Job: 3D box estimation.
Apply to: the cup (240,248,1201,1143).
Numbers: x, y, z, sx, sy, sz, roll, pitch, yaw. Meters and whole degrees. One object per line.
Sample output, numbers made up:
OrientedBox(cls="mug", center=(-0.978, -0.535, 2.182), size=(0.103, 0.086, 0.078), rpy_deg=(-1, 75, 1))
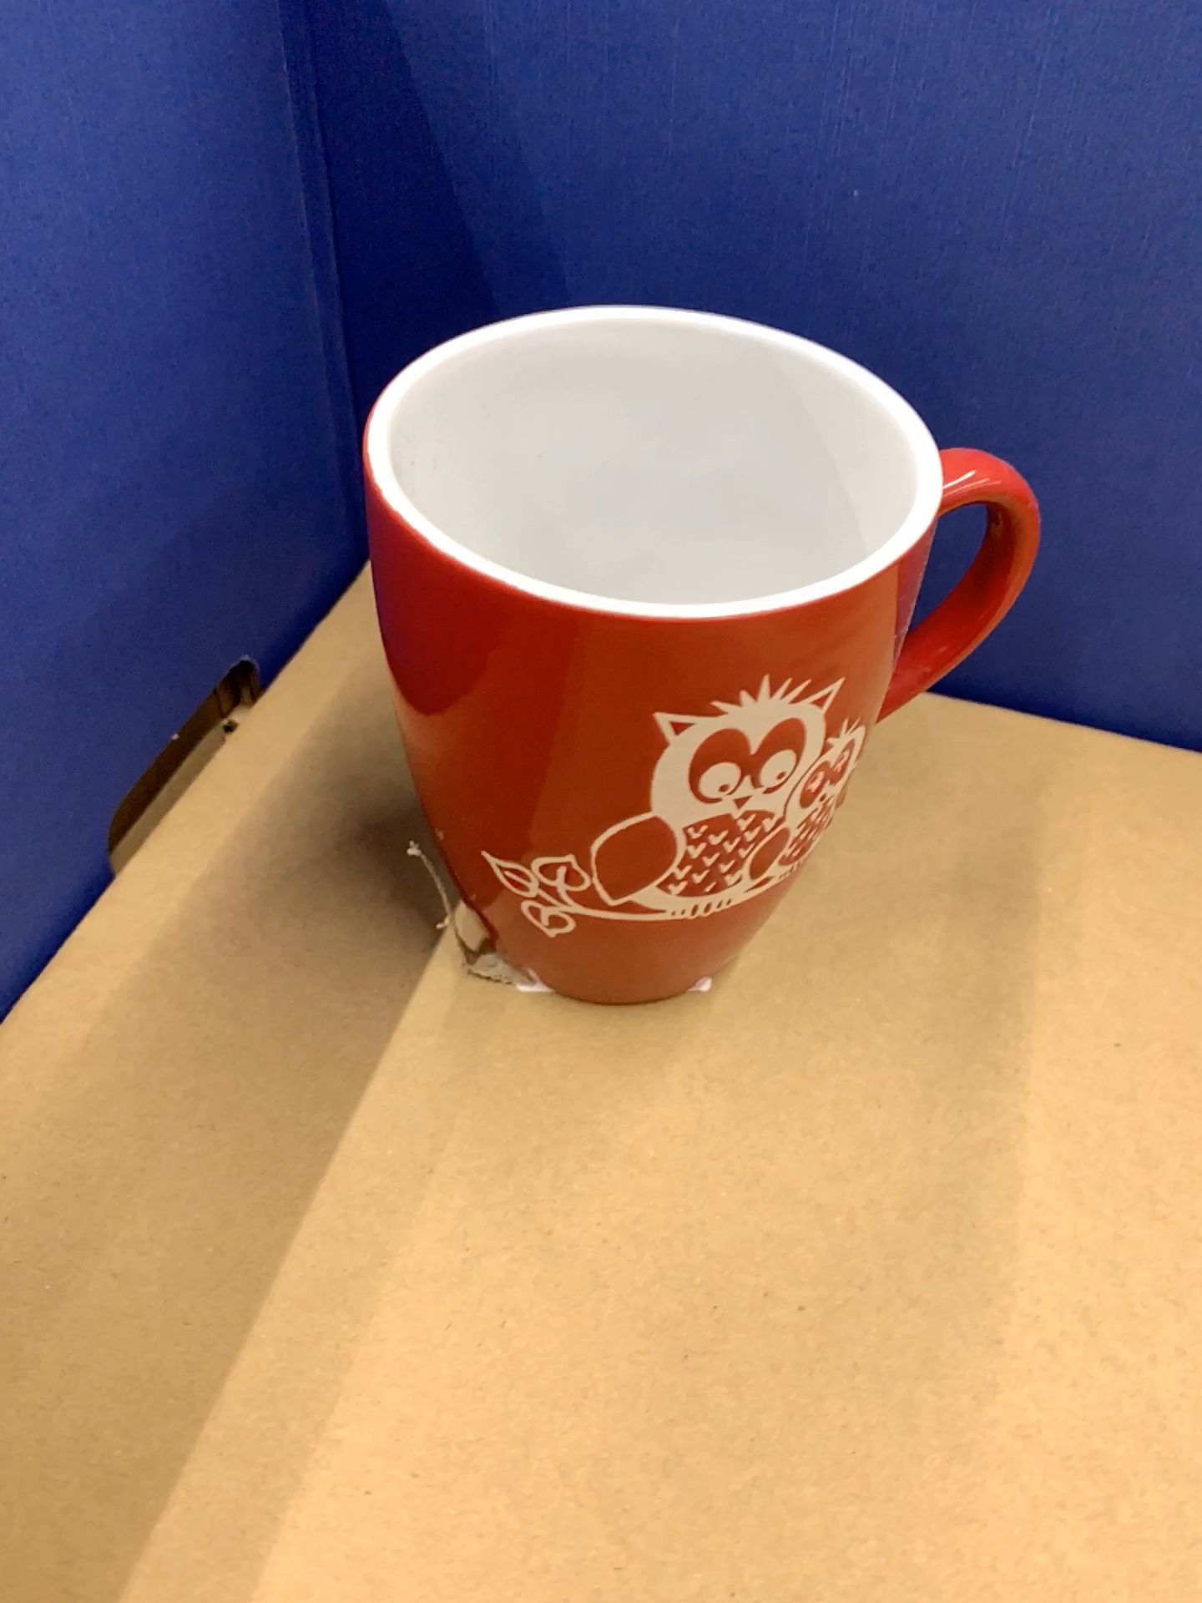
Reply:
OrientedBox(cls="cup", center=(0.017, -0.028, 0.227), size=(0.120, 0.091, 0.100), rpy_deg=(-21, 48, -23))
